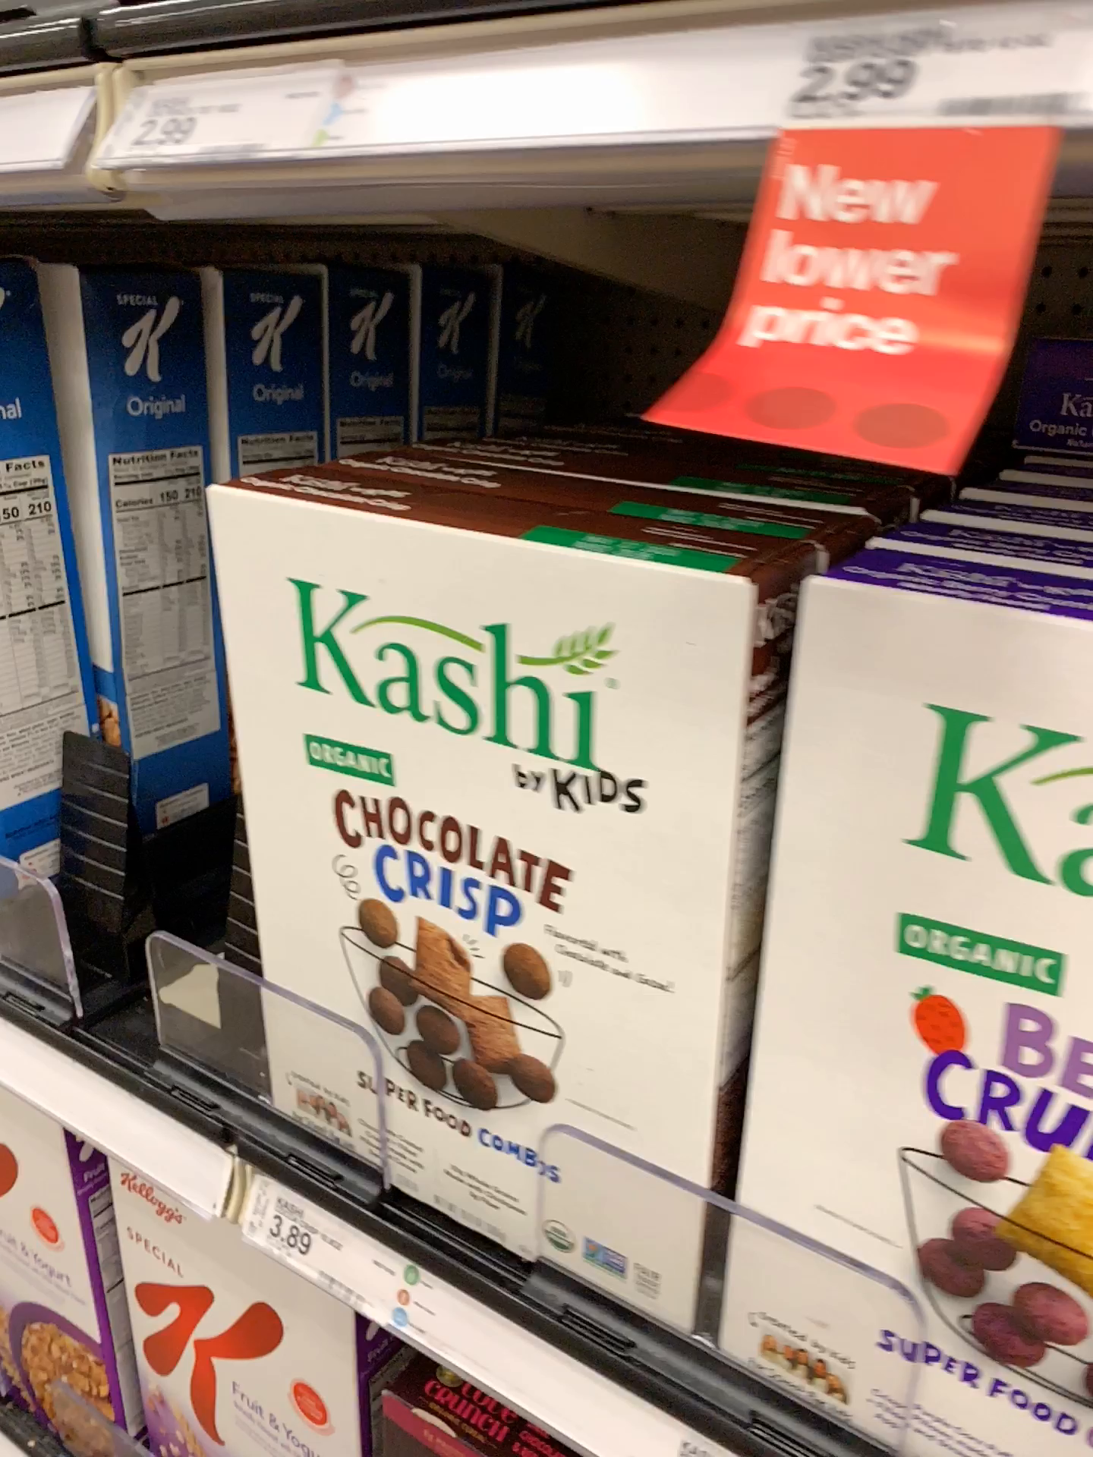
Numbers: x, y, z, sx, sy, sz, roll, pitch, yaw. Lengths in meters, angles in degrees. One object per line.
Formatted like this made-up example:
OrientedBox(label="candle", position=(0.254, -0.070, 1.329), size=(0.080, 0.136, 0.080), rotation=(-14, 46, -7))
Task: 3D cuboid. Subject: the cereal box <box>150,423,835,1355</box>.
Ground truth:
OrientedBox(label="cereal box", position=(-0.025, 0.043, 0.376), size=(0.200, 0.259, 0.060), rotation=(15, 27, 31))
